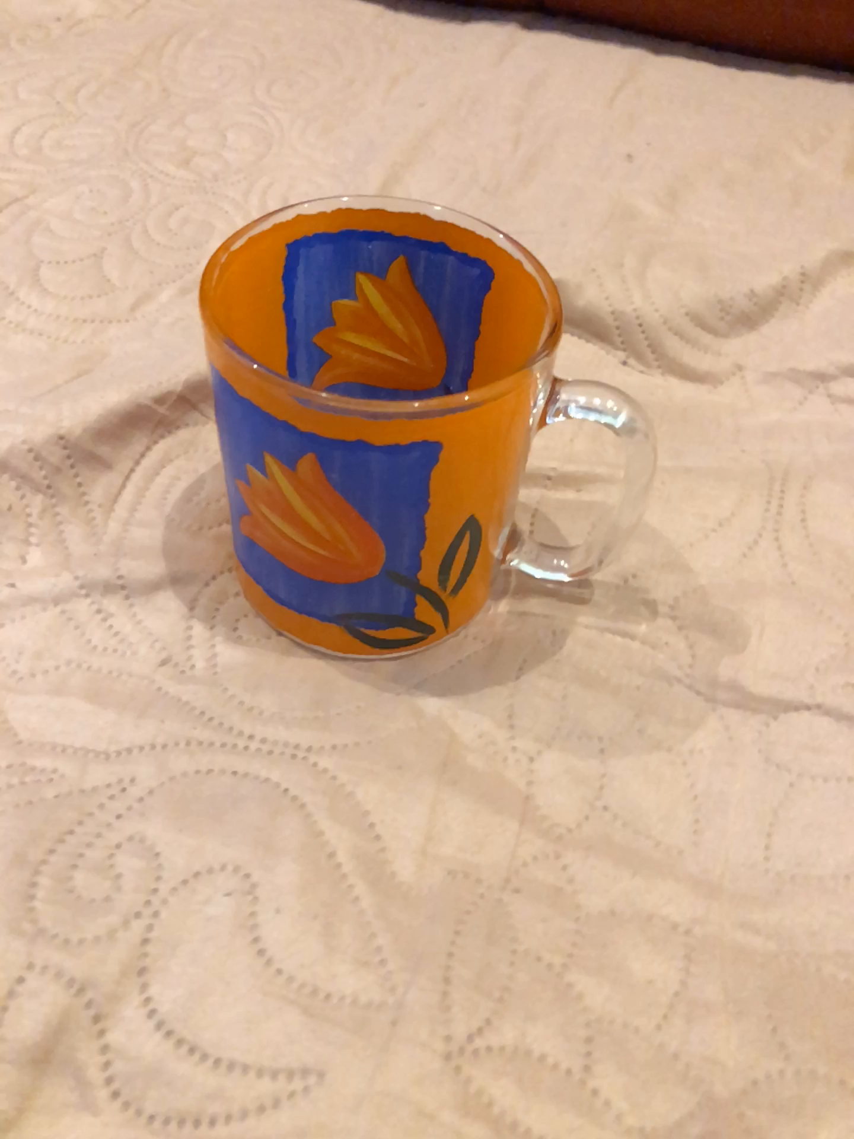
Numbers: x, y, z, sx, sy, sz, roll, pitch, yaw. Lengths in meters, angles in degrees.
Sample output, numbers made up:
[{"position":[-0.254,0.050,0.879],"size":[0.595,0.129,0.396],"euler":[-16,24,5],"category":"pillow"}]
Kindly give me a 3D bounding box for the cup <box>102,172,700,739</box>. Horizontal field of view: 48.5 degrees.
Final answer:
[{"position":[-0.002,-0.028,0.237],"size":[0.110,0.089,0.081],"euler":[13,51,7],"category":"cup"}]
